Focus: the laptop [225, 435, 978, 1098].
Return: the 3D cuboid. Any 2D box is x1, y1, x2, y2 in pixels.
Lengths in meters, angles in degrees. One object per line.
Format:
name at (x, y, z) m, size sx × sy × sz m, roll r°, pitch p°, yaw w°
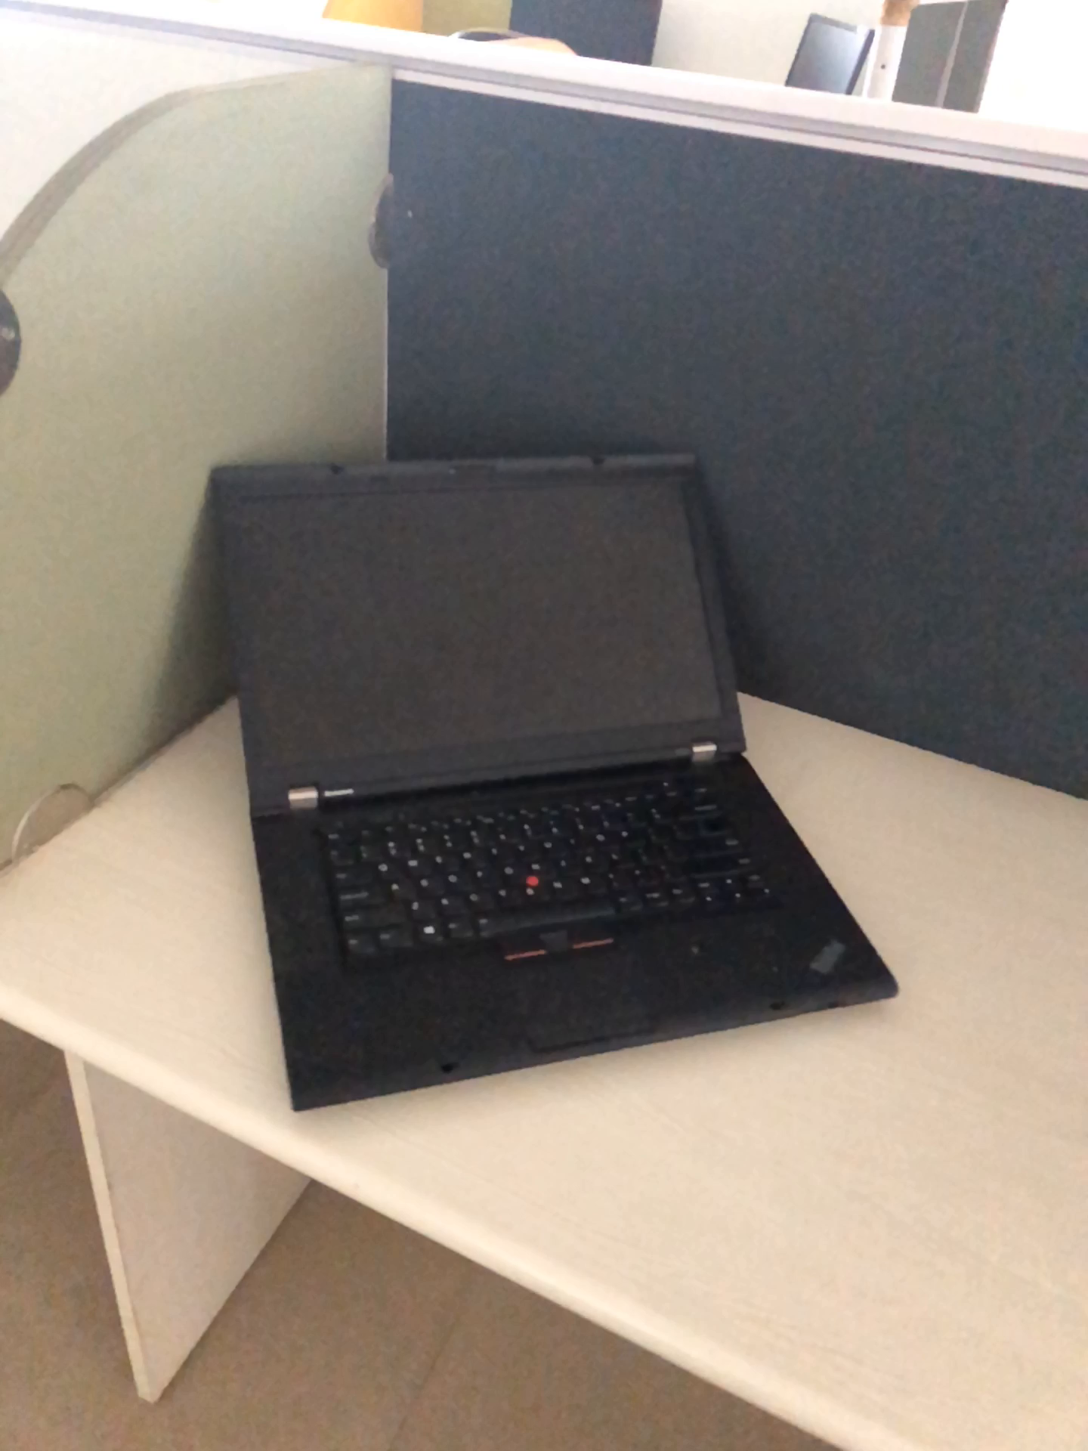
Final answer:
laptop at (-0.004, -0.017, 0.774) m, size 0.355 × 0.167 × 0.407 m, roll -6°, pitch 38°, yaw -16°
